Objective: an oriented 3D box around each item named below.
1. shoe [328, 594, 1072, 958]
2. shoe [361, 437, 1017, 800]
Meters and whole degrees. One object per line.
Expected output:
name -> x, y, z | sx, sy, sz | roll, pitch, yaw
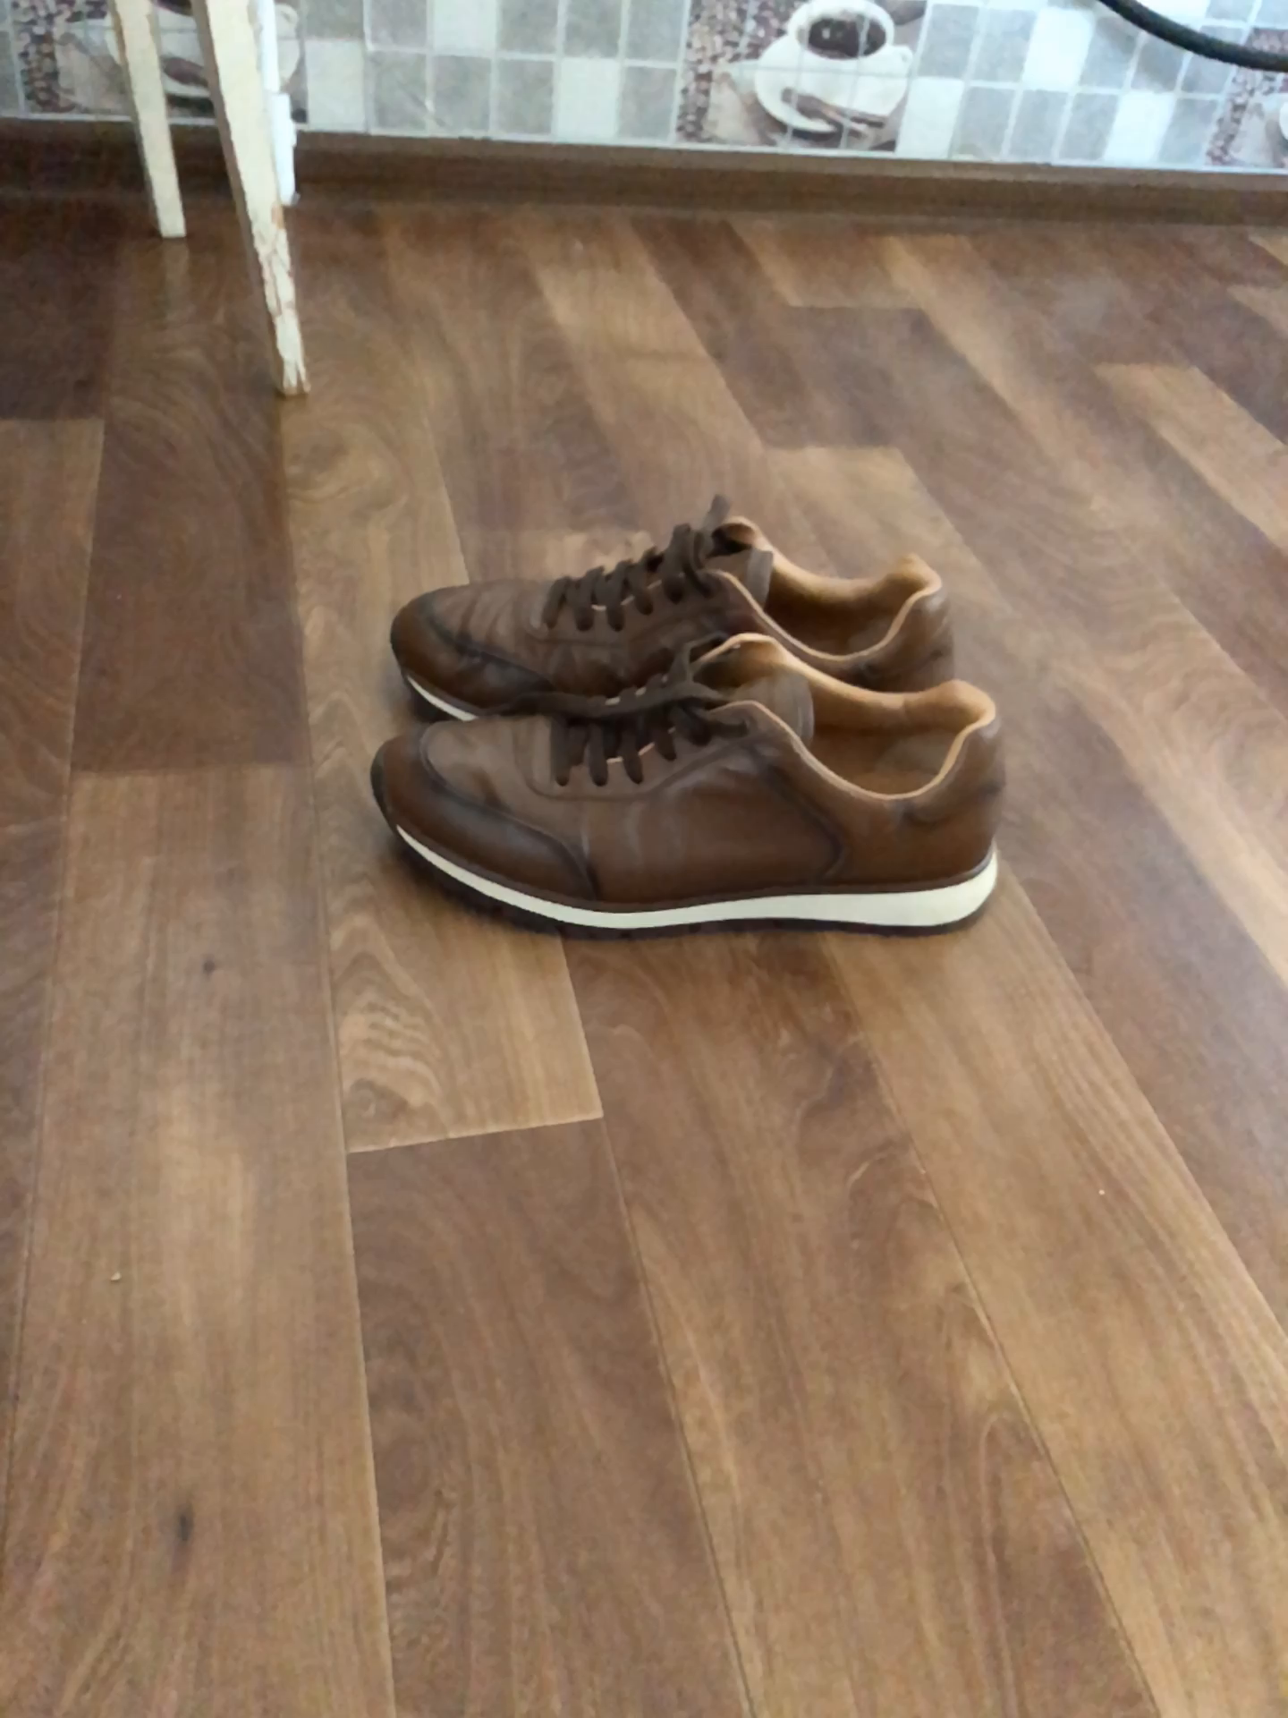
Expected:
shoe -> 0.018, -0.034, 0.595 | 0.280, 0.089, 0.101 | 4, 43, -6
shoe -> 0.018, -0.114, 0.671 | 0.280, 0.089, 0.111 | 7, 42, -2
